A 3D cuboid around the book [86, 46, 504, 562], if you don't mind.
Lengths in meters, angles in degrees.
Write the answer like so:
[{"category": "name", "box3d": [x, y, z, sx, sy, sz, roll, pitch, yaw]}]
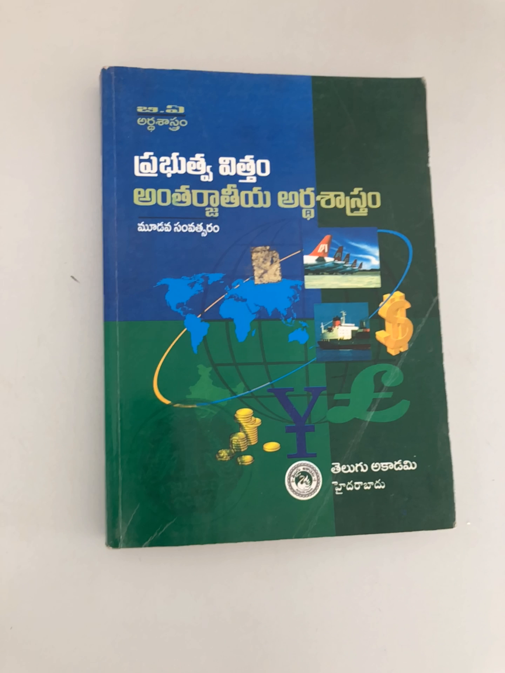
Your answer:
[{"category": "book", "box3d": [0.017, -0.021, 0.294, 0.190, 0.050, 0.240, -2, 83, -7]}]
